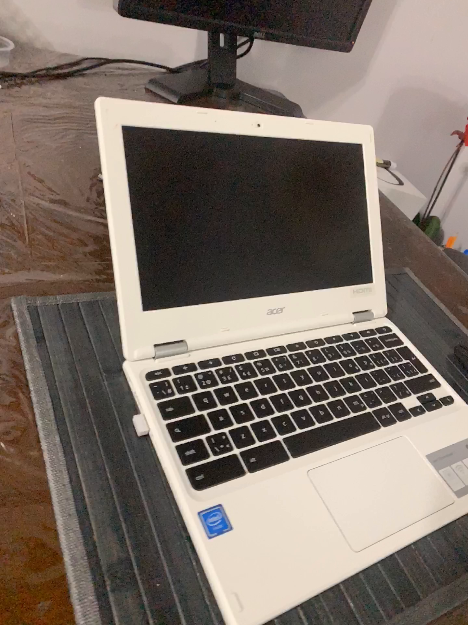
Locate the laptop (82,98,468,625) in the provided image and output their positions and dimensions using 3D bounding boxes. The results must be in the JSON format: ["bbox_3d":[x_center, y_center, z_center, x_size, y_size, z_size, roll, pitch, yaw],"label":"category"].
[{"bbox_3d":[0.071,-0.012,0.378,0.285,0.142,0.328,-8,48,-30],"label":"laptop"}]
